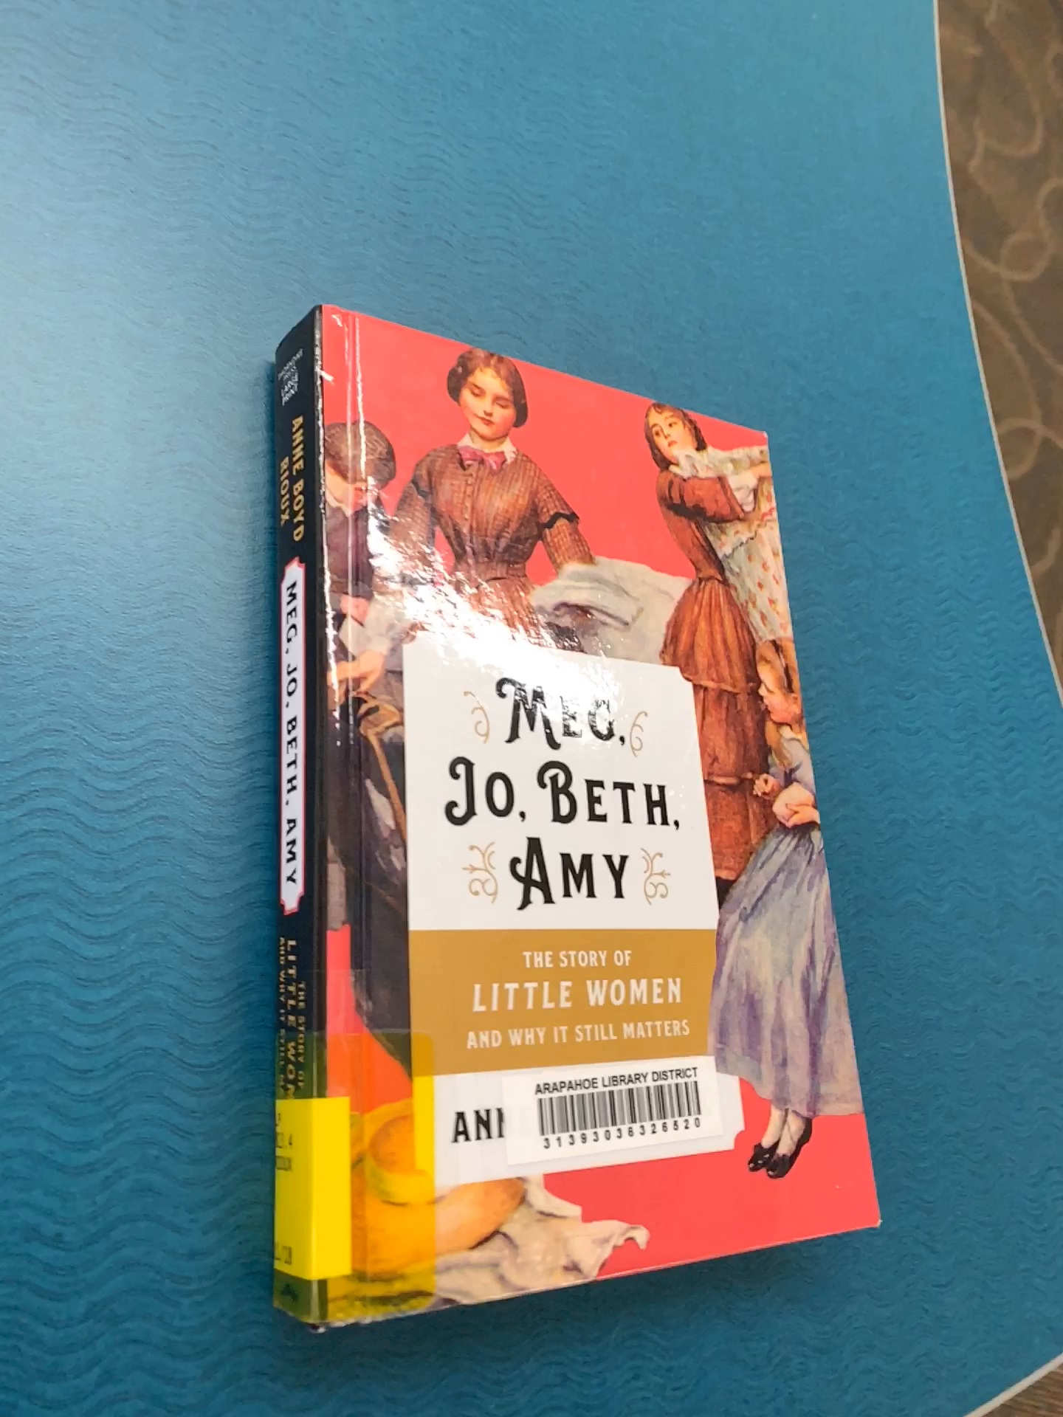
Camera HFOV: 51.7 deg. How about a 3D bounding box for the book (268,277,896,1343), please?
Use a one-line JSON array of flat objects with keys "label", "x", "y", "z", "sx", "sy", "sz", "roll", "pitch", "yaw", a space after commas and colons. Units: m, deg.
[{"label": "book", "x": 0.010, "y": 0.017, "z": 0.274, "sx": 0.141, "sy": 0.040, "sz": 0.220, "roll": 6, "pitch": 71, "yaw": -30}]
